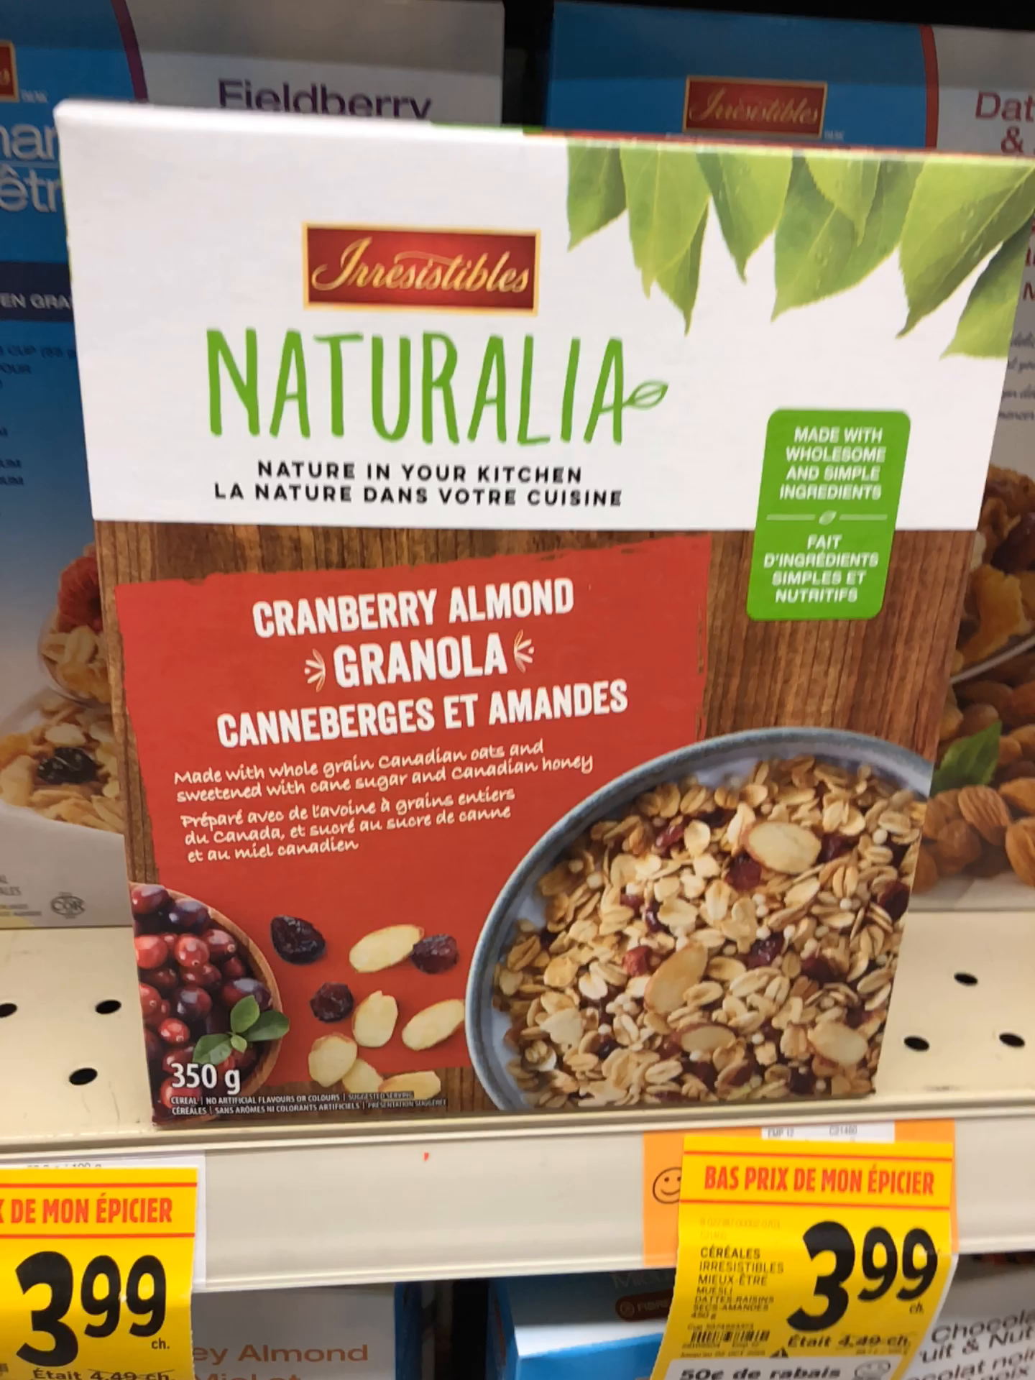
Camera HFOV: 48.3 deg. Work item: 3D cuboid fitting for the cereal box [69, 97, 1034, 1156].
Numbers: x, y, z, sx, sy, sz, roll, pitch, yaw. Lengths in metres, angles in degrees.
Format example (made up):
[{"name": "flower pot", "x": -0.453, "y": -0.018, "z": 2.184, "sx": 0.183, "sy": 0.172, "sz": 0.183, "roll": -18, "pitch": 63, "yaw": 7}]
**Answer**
[{"name": "cereal box", "x": 0.010, "y": -0.006, "z": 0.251, "sx": 0.170, "sy": 0.209, "sz": 0.060, "roll": 0, "pitch": 23, "yaw": -6}]
